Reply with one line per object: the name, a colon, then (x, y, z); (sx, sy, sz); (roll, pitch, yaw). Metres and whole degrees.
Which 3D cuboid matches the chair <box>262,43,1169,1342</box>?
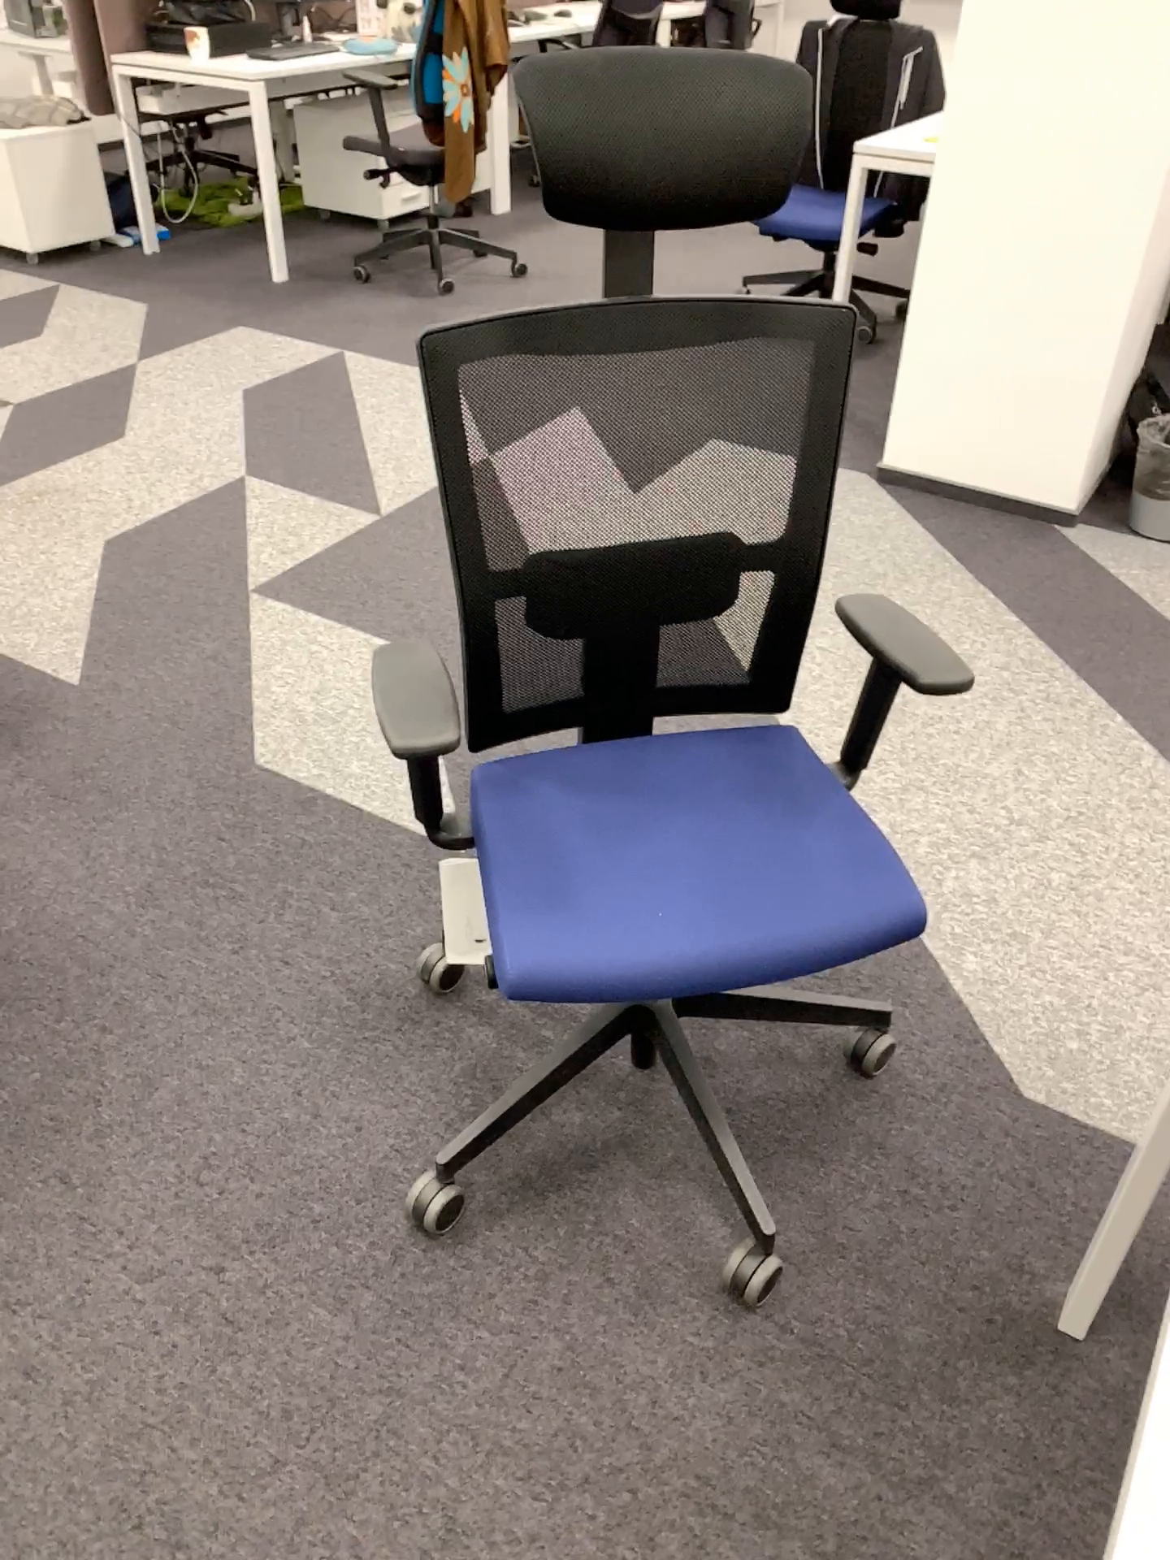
chair: (0.138, -0.057, 1.336); (0.730, 1.243, 0.674); (-3, 37, -5)
